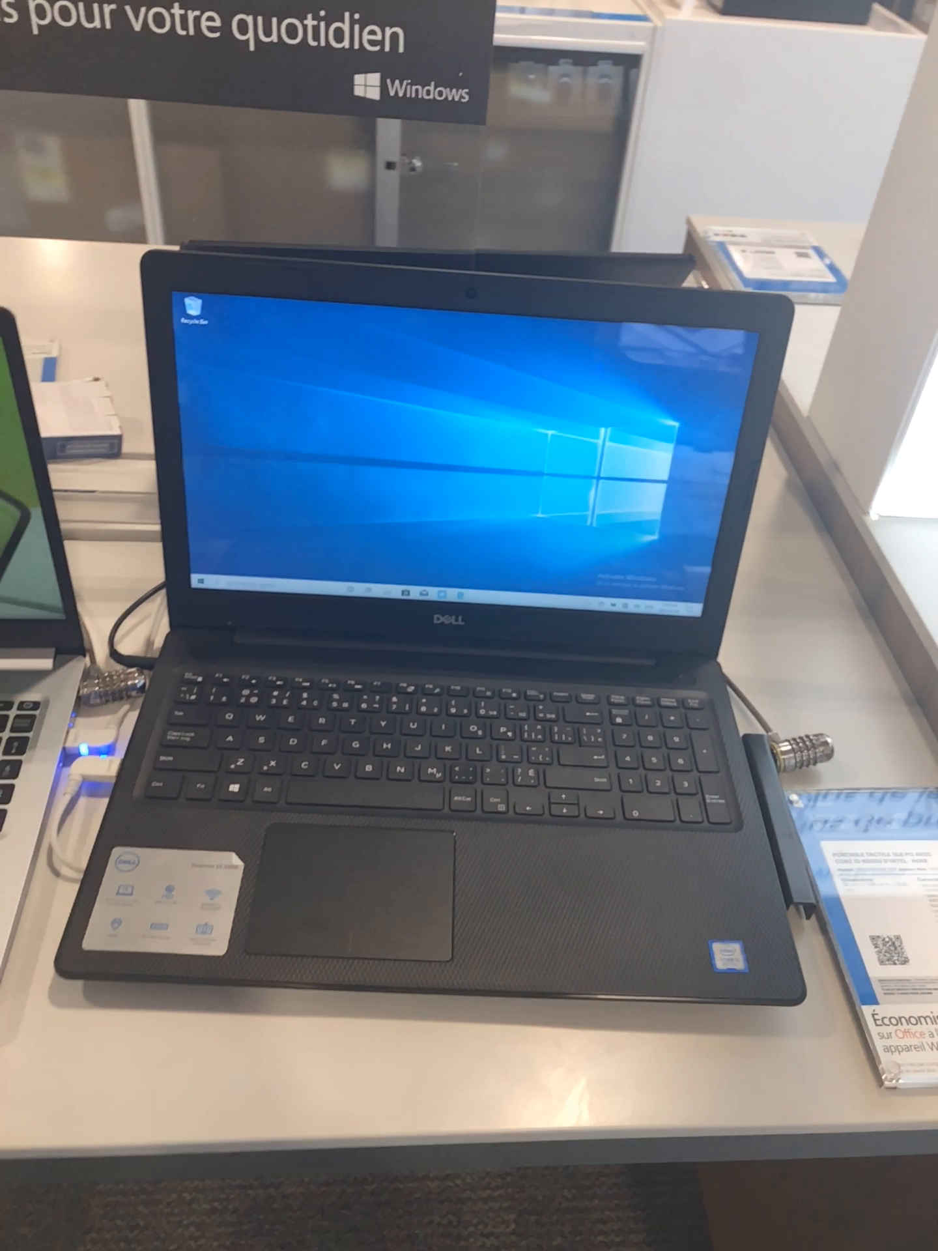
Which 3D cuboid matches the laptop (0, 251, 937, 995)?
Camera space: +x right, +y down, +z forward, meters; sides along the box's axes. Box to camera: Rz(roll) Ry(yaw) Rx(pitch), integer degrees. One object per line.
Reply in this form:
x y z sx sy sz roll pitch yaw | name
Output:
-0.010 -0.013 0.557 0.368 0.230 0.311 3 41 -3 | laptop
